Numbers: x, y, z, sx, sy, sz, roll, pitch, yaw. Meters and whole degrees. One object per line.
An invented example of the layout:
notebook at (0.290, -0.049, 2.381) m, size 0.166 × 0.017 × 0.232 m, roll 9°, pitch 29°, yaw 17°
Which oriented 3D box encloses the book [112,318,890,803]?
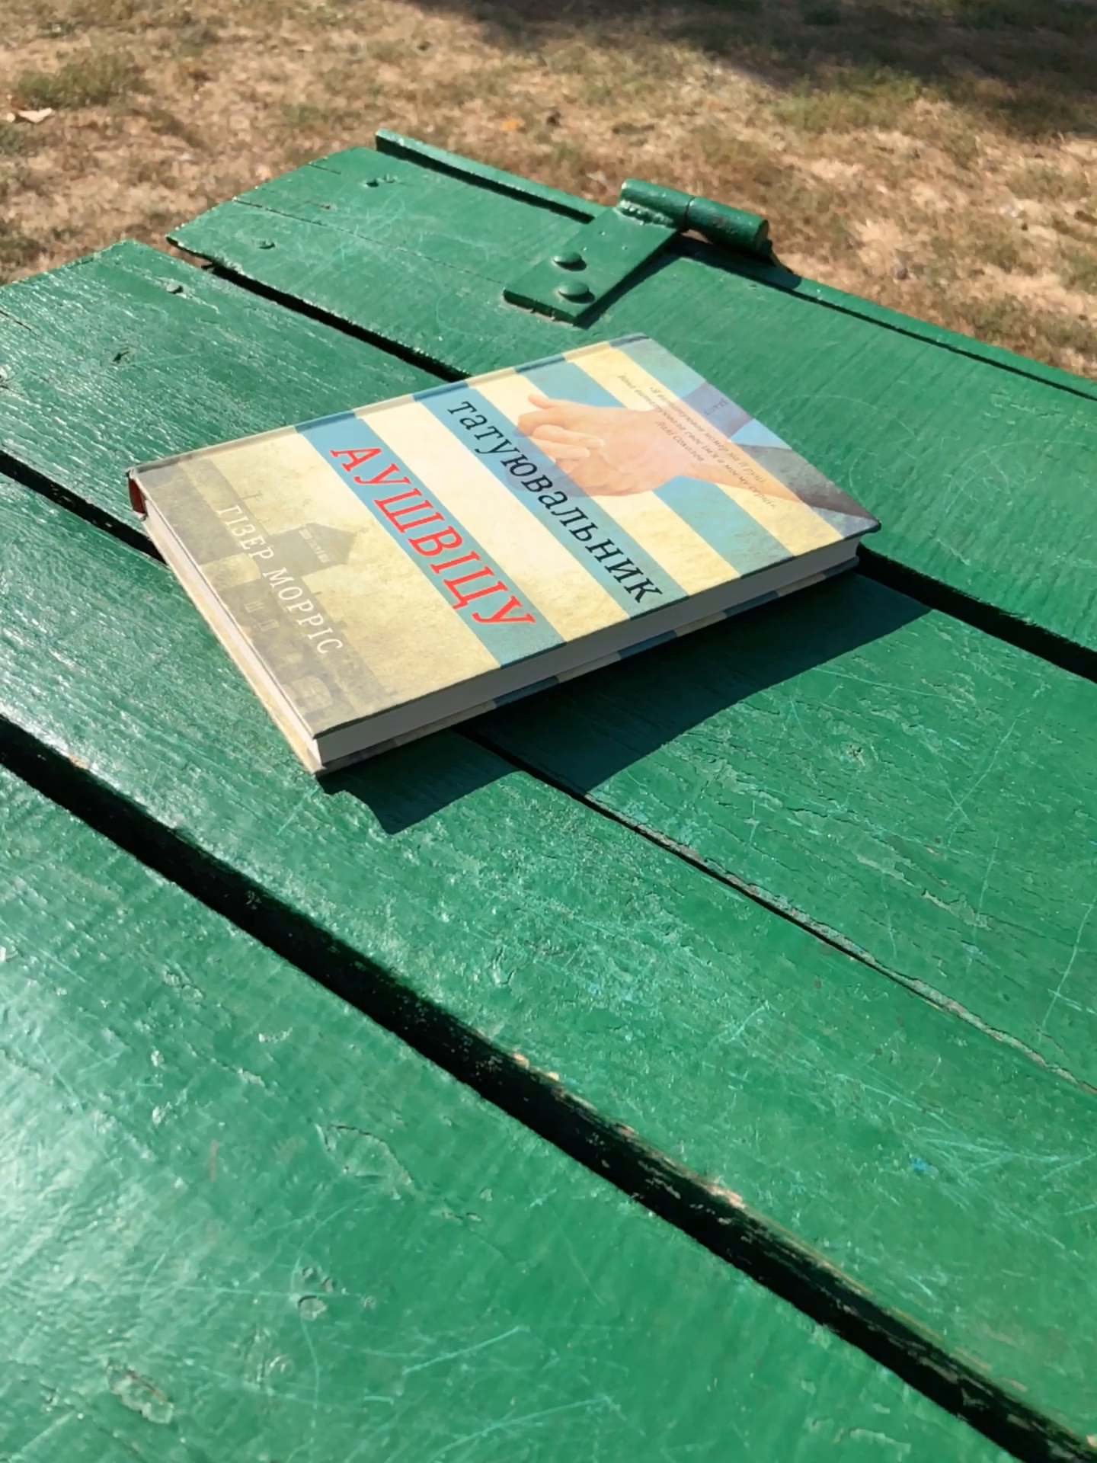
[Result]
book at (-0.015, -0.073, 0.408) m, size 0.213 × 0.020 × 0.148 m, roll -23°, pitch 54°, yaw -24°
